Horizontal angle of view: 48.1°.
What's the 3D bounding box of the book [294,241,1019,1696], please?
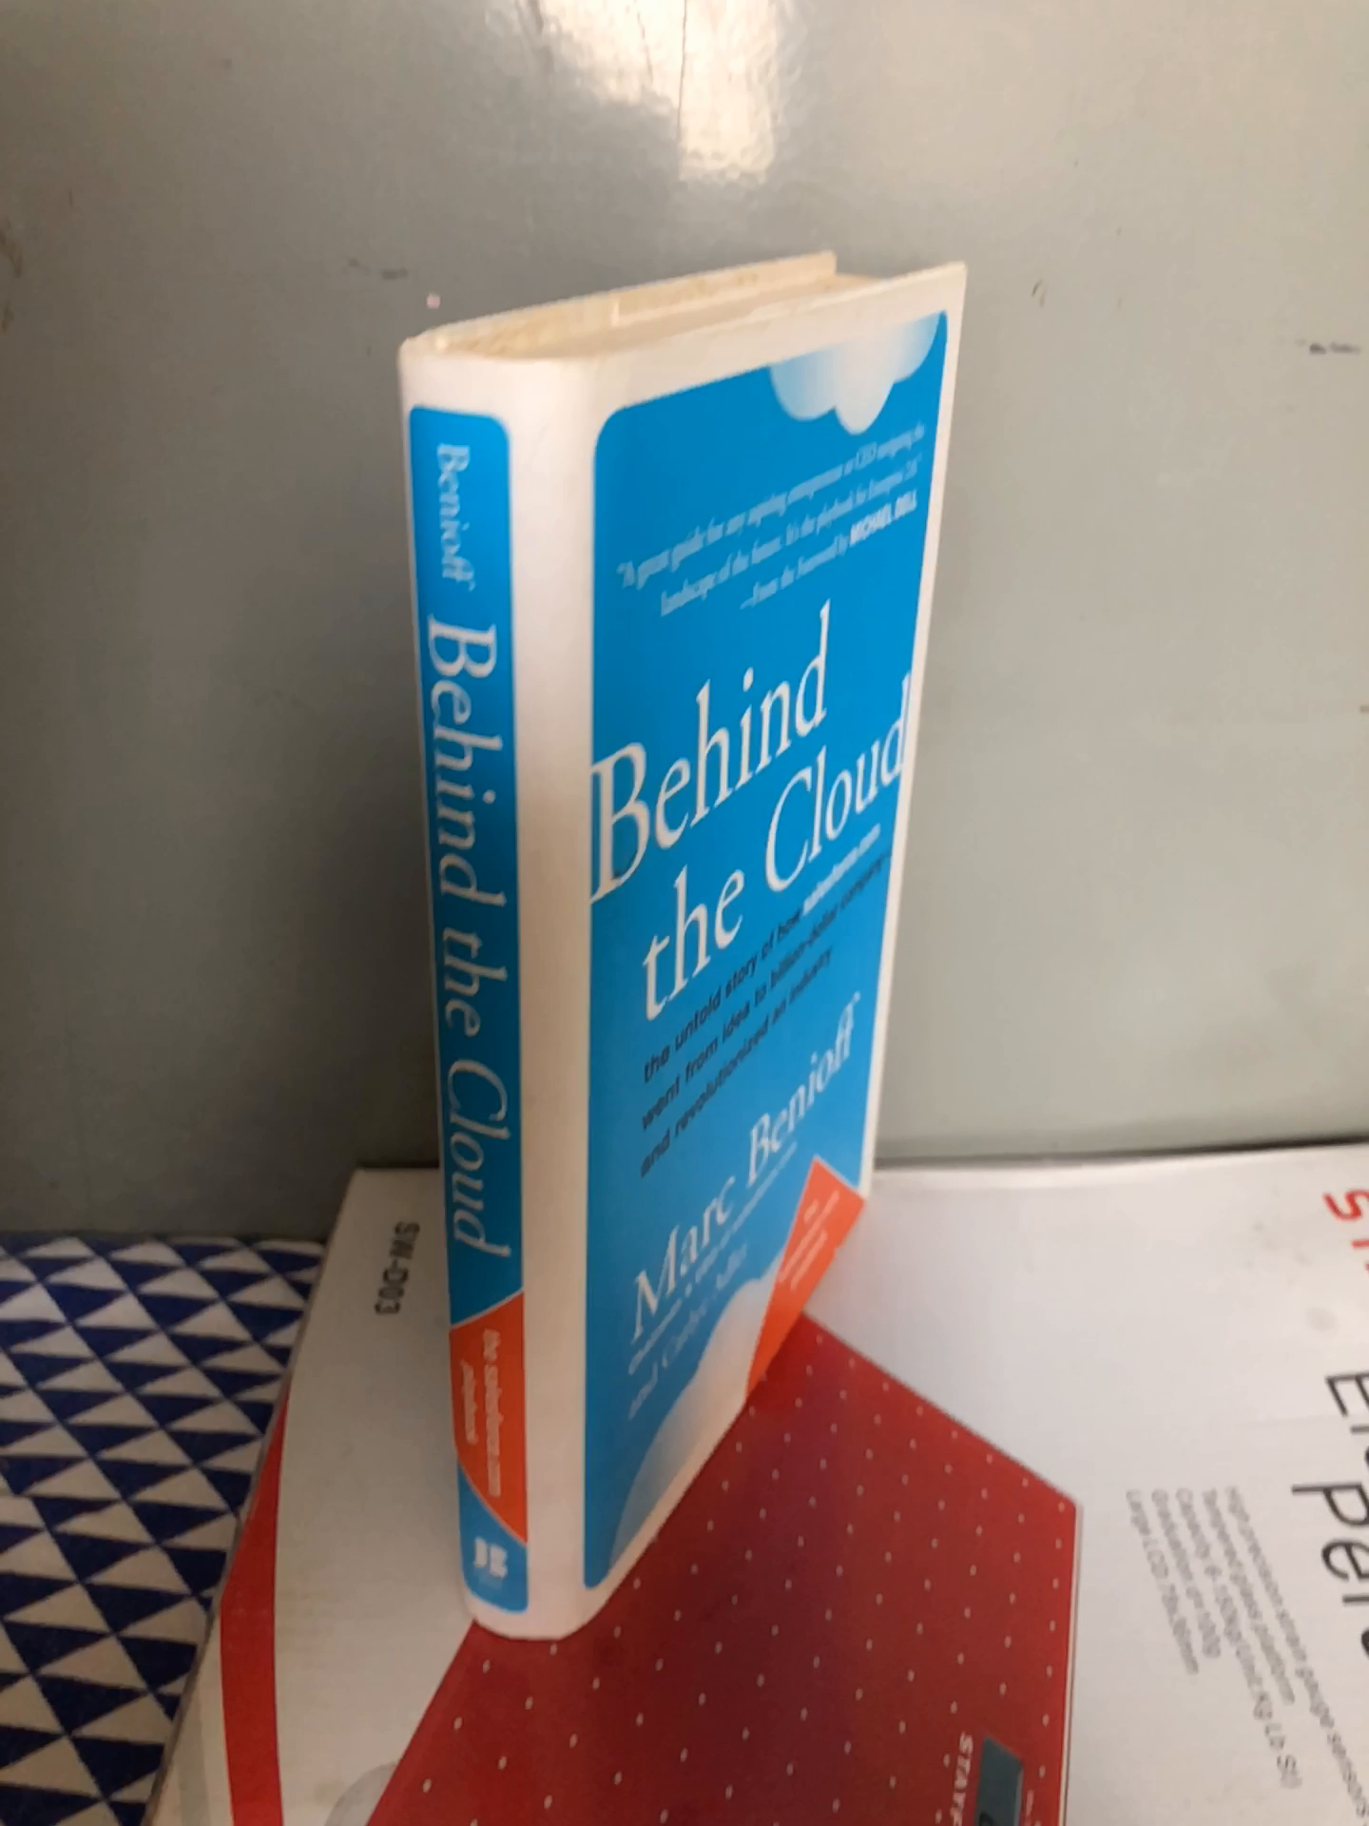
[{"bbox_3d":[0.010,-0.005,0.315,0.040,0.239,0.191,13,27,24],"label":"book"}]
